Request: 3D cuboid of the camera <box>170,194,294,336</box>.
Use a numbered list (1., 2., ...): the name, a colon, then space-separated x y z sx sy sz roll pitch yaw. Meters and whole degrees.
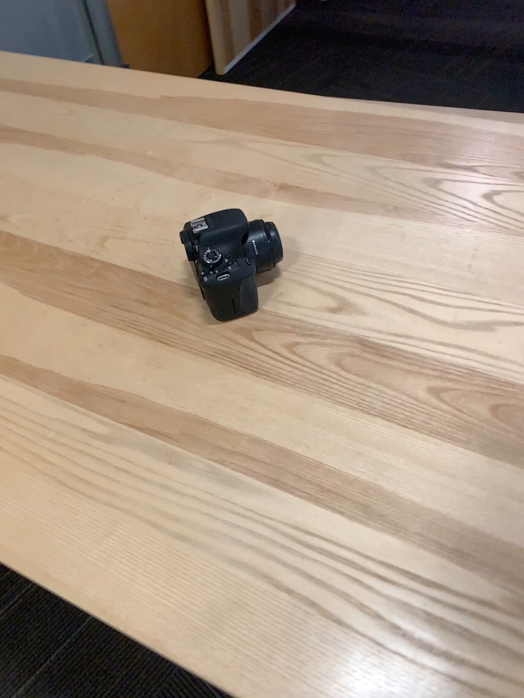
1. camera: -0.037 -0.106 0.665 0.112 0.094 0.120 -18 51 -9
